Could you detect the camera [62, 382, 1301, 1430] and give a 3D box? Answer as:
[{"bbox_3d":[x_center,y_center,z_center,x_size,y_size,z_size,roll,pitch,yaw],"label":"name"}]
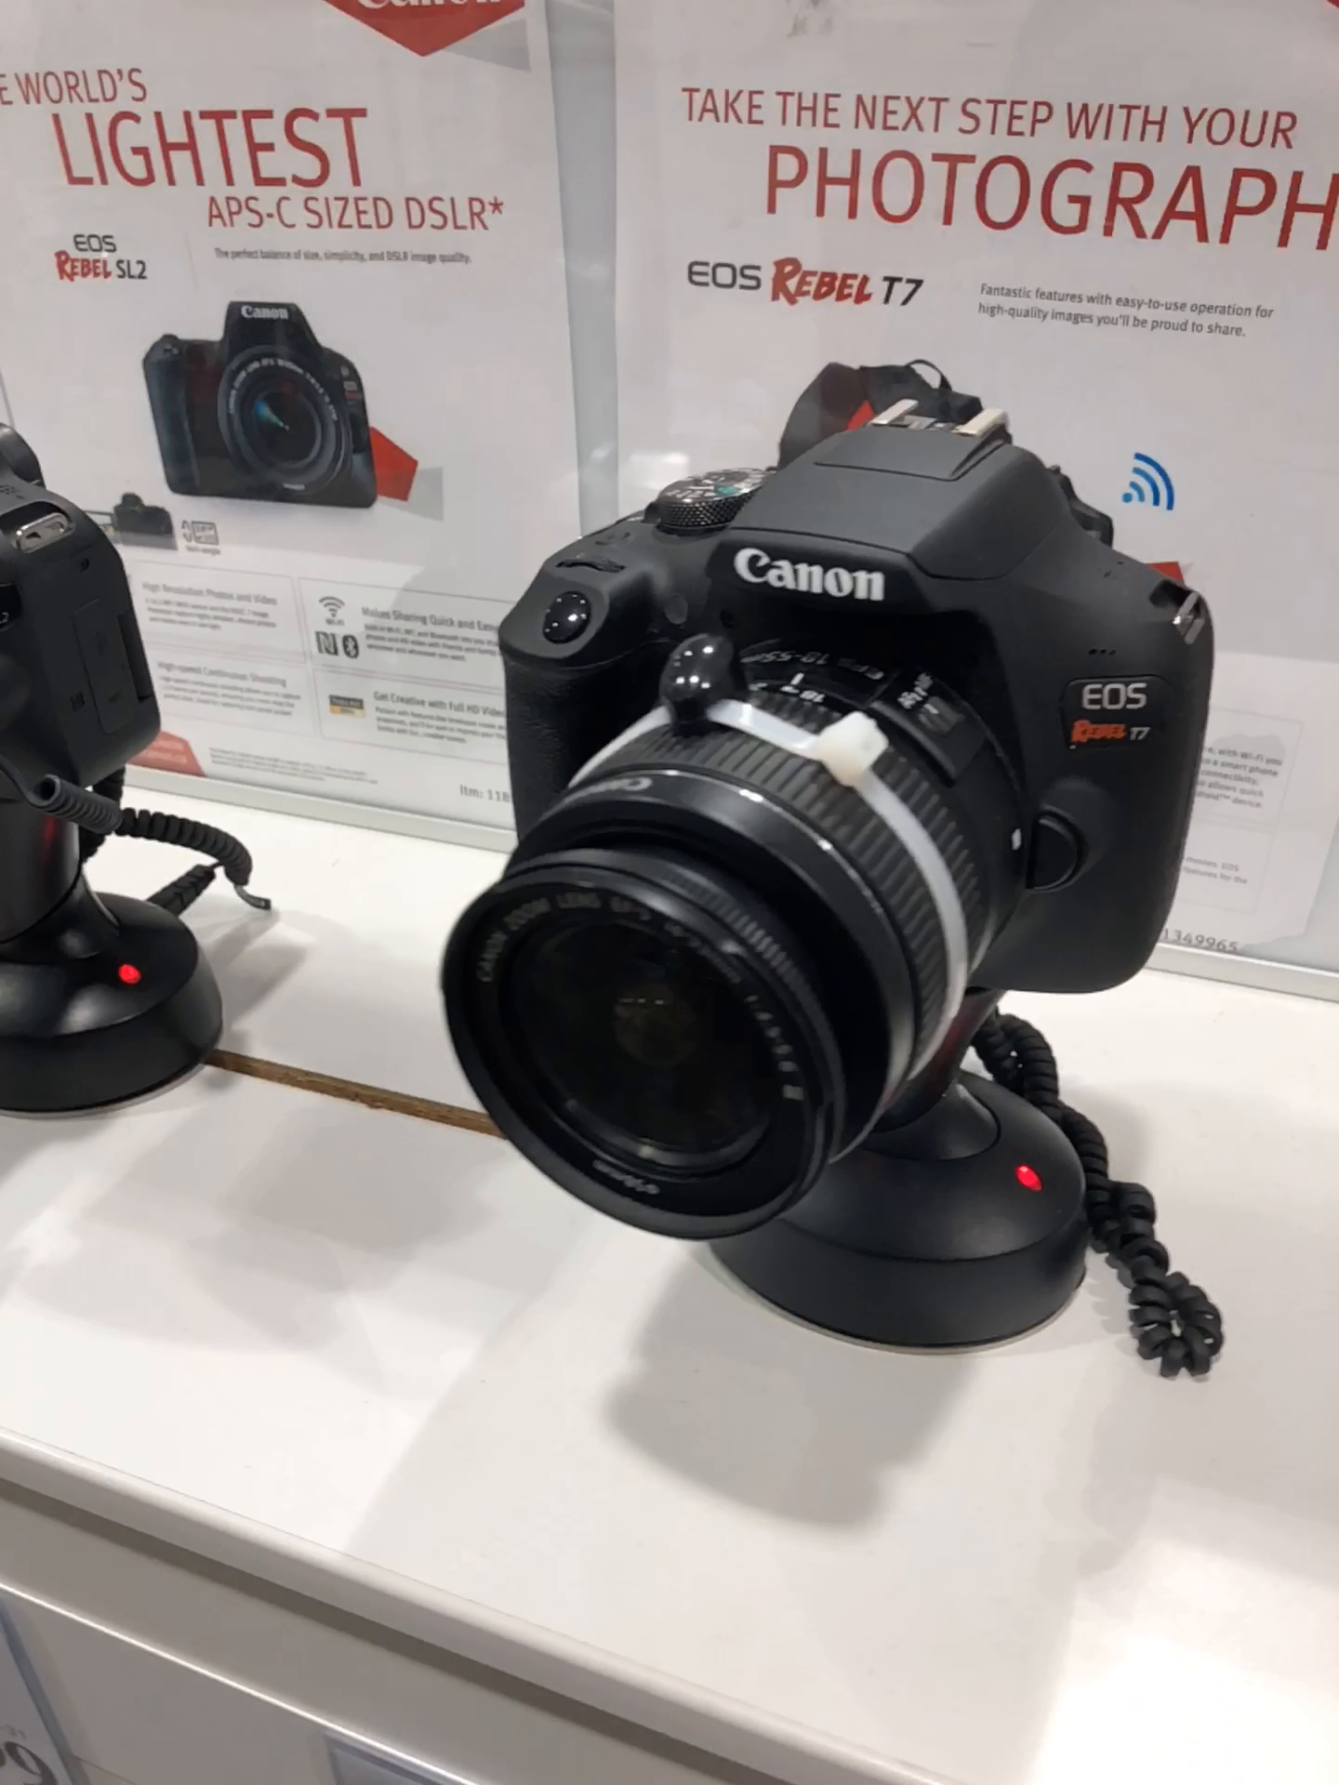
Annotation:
[{"bbox_3d":[0.015,-0.020,0.253,0.140,0.090,0.151,13,34,24],"label":"camera"}]
